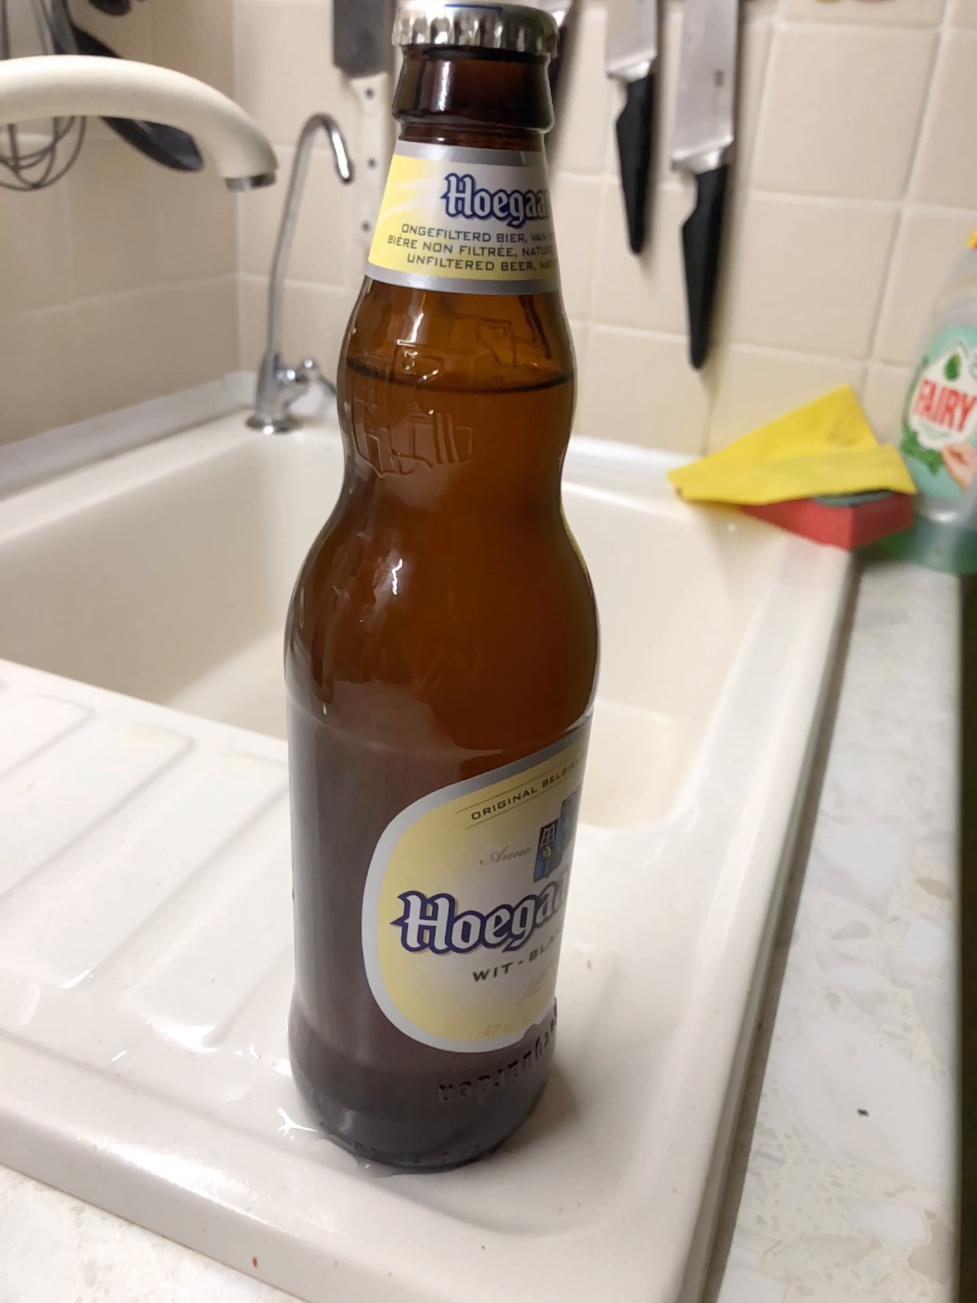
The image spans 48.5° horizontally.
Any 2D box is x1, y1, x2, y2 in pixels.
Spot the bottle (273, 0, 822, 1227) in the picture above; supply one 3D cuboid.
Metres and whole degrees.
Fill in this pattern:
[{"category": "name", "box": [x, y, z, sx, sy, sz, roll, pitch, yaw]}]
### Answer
[{"category": "bottle", "box": [0.003, -0.001, 0.225, 0.060, 0.231, 0.070, 22, 30, 32]}]
